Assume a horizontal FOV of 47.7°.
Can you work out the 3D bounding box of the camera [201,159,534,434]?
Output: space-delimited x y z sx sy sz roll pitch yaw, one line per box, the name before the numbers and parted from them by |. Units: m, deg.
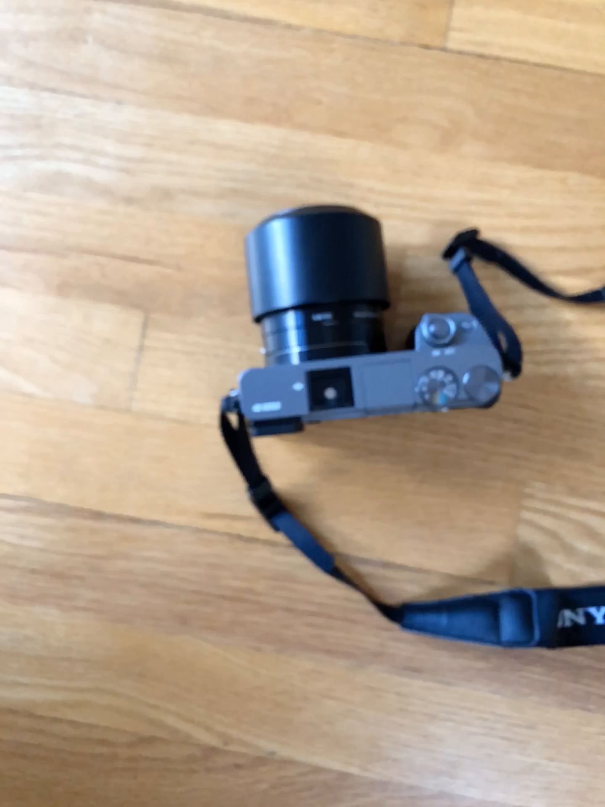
camera | 0.029 -0.047 0.344 0.136 0.079 0.106 -7 88 1
